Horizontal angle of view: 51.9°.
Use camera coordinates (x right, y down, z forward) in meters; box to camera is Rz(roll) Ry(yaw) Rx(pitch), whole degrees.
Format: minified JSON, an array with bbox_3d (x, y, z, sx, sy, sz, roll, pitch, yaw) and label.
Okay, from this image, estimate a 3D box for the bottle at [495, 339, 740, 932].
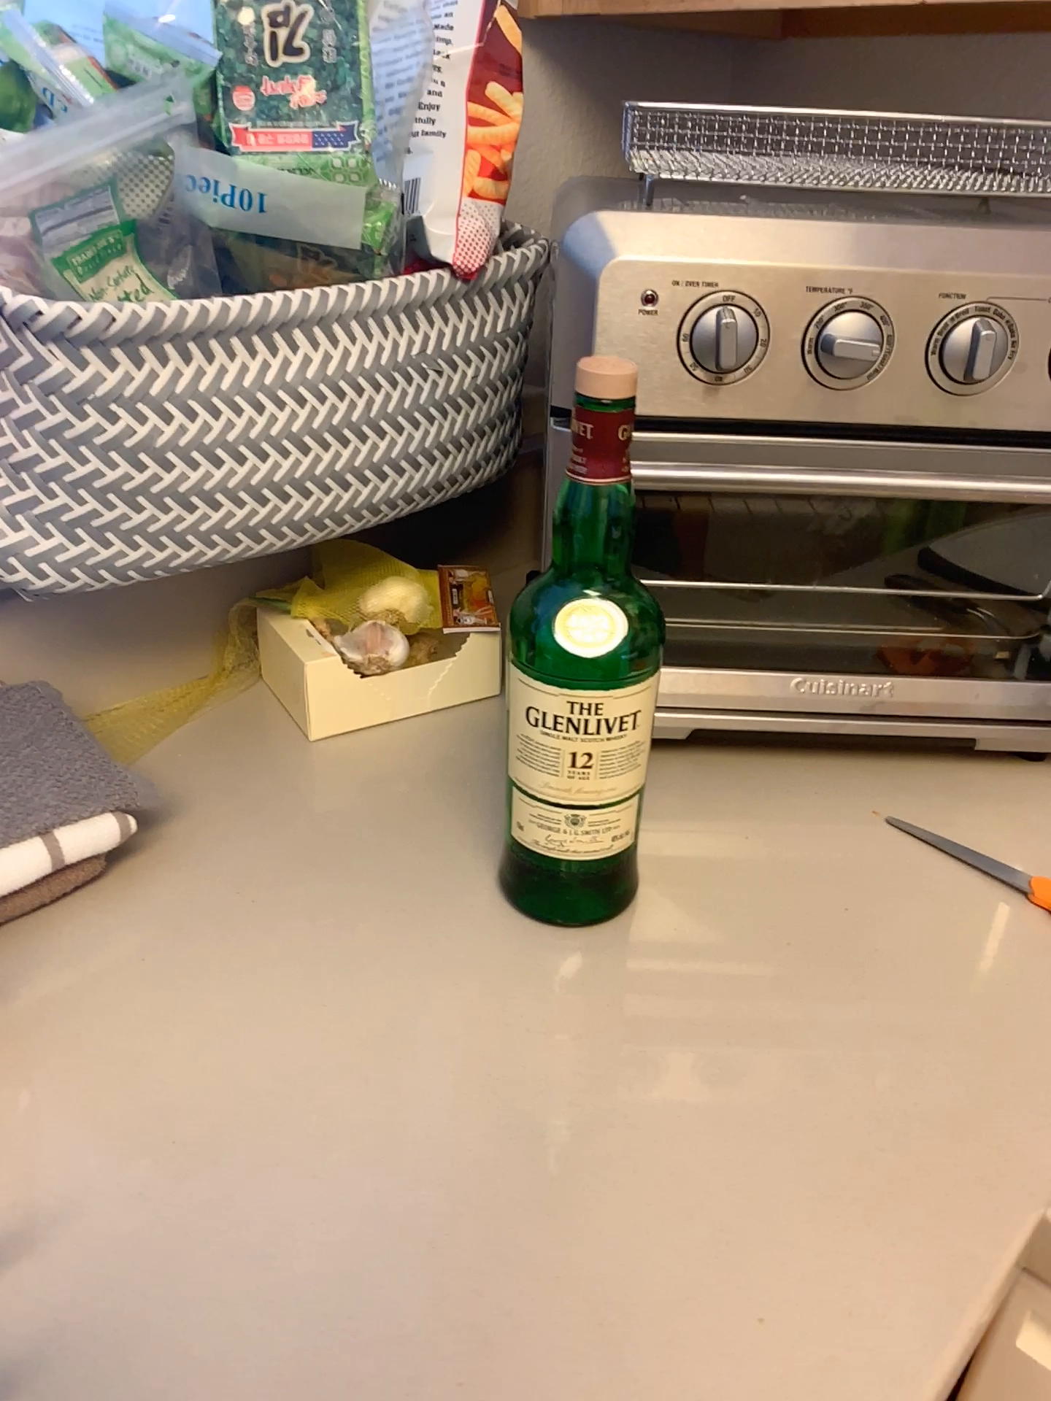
[{"bbox_3d":[0.034,-0.025,0.534,0.090,0.278,0.091,2,28,-1],"label":"bottle"}]
